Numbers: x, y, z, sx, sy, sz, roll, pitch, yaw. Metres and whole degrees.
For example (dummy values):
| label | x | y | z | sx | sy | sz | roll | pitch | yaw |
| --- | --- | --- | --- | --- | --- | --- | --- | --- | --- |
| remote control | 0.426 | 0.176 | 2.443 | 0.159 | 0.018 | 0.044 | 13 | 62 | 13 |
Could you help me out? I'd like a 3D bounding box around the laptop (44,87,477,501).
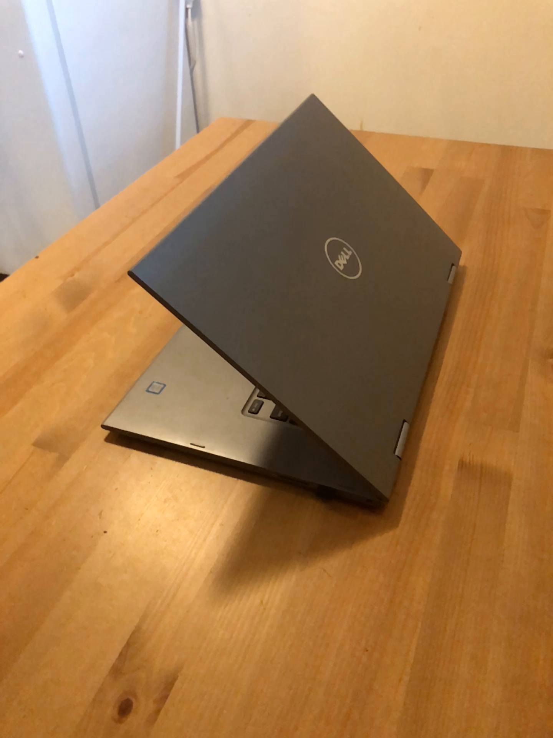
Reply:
| label | x | y | z | sx | sy | sz | roll | pitch | yaw |
| --- | --- | --- | --- | --- | --- | --- | --- | --- | --- |
| laptop | 0.024 | -0.109 | 0.566 | 0.246 | 0.165 | 0.377 | 12 | 43 | 17 |
